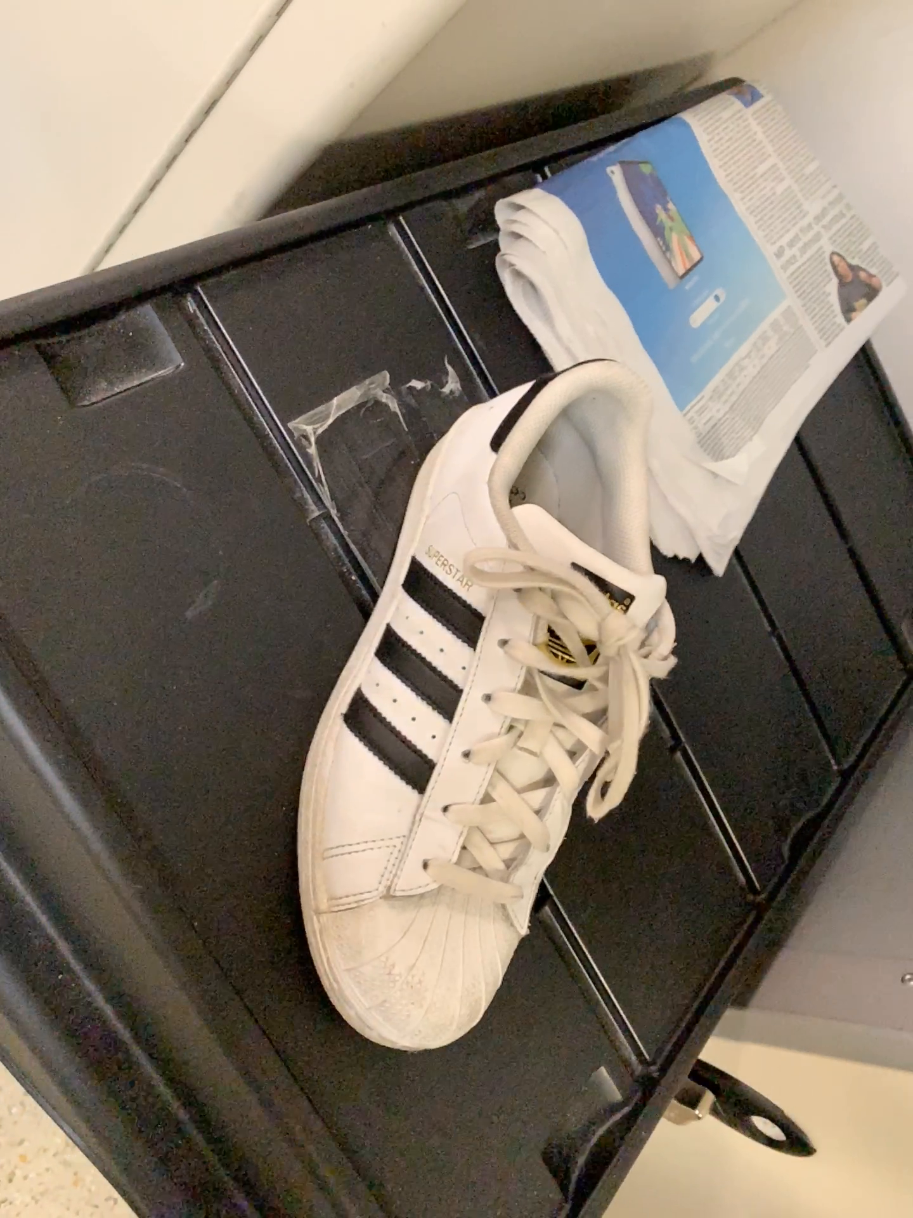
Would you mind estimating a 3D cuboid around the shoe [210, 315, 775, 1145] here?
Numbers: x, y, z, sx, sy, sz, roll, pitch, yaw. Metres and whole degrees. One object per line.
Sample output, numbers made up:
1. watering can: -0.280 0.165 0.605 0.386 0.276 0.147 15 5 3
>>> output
1. shoe: 0.021 0.037 0.338 0.104 0.092 0.243 30 69 -30
